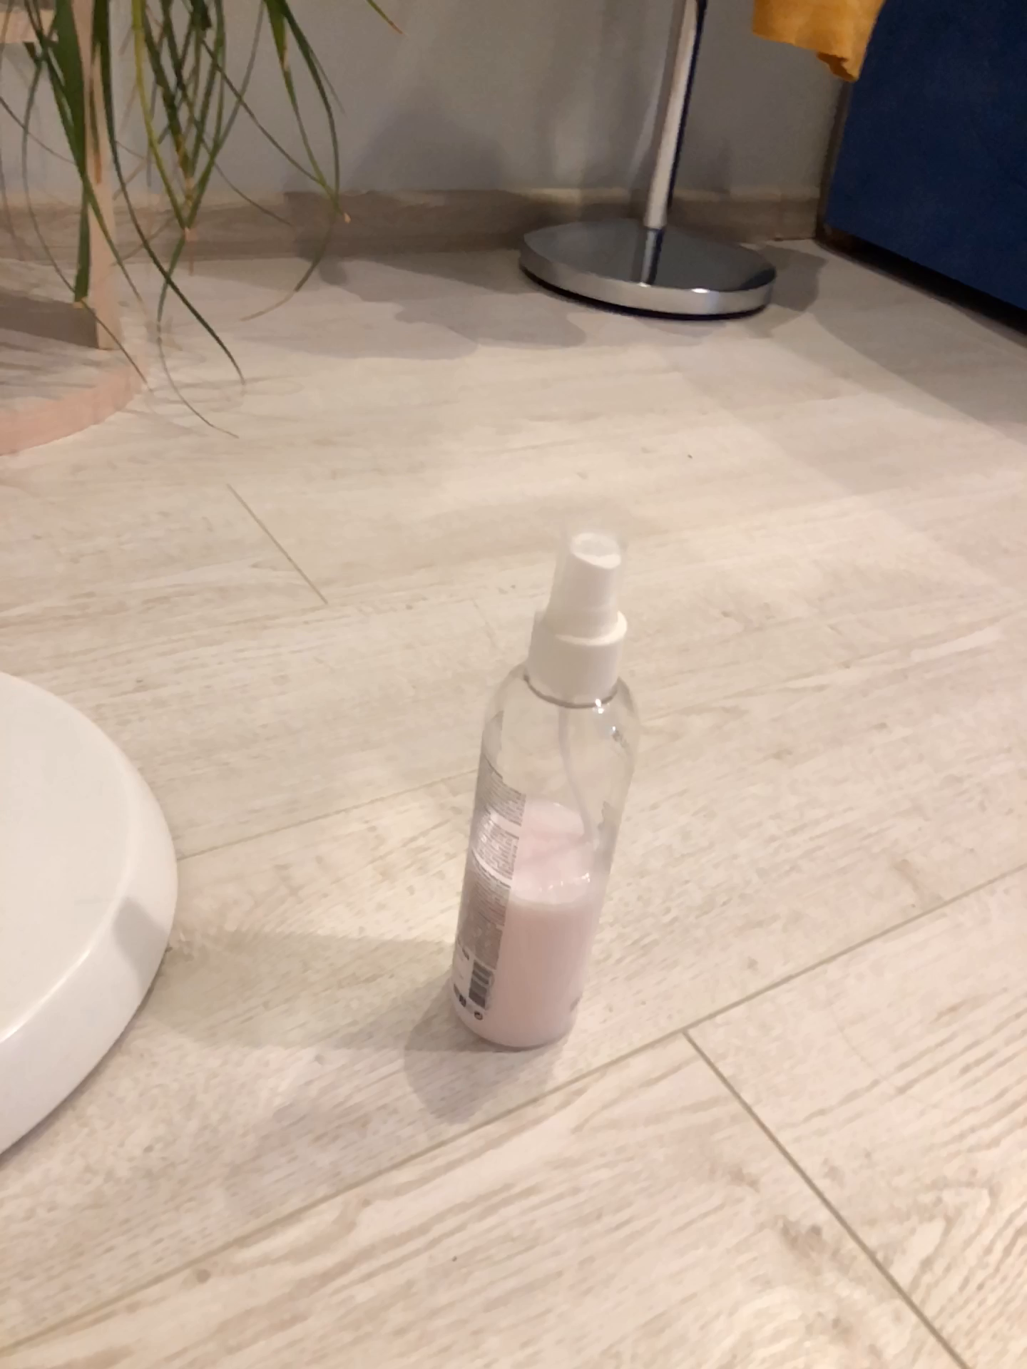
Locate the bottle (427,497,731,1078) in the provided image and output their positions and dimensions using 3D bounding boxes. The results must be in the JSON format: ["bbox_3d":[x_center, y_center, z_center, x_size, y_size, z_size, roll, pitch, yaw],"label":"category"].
[{"bbox_3d":[0.013,0.038,0.358,0.054,0.183,0.049,-14,39,-28],"label":"bottle"}]
